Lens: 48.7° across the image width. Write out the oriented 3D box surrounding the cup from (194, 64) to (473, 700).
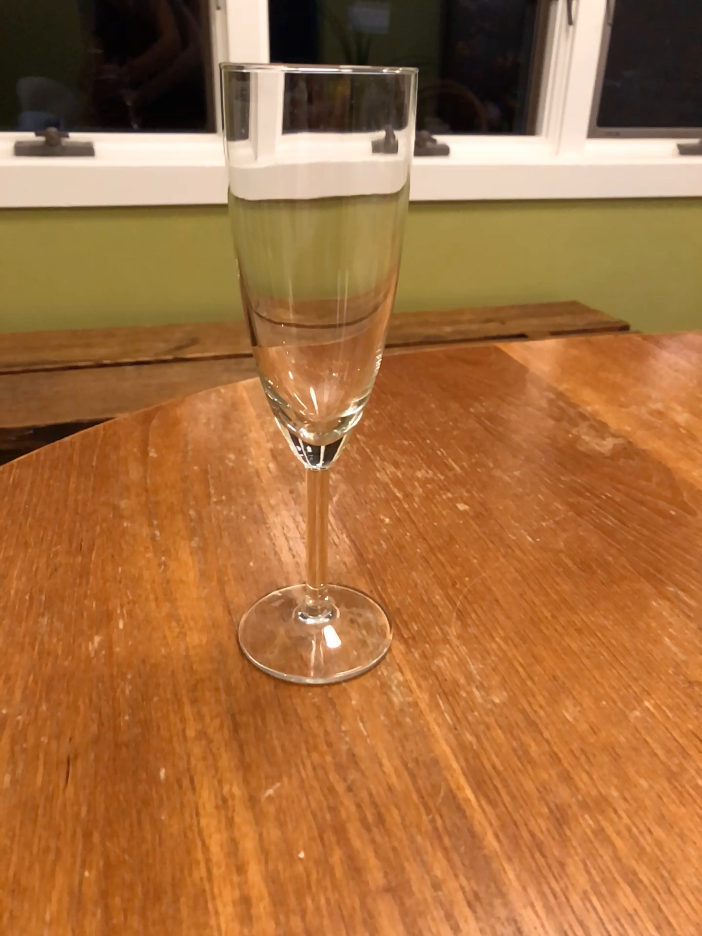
[{"bbox_3d":[-0.012,-0.029,0.285,0.070,0.211,0.077,-6,27,-14],"label":"cup"}]
